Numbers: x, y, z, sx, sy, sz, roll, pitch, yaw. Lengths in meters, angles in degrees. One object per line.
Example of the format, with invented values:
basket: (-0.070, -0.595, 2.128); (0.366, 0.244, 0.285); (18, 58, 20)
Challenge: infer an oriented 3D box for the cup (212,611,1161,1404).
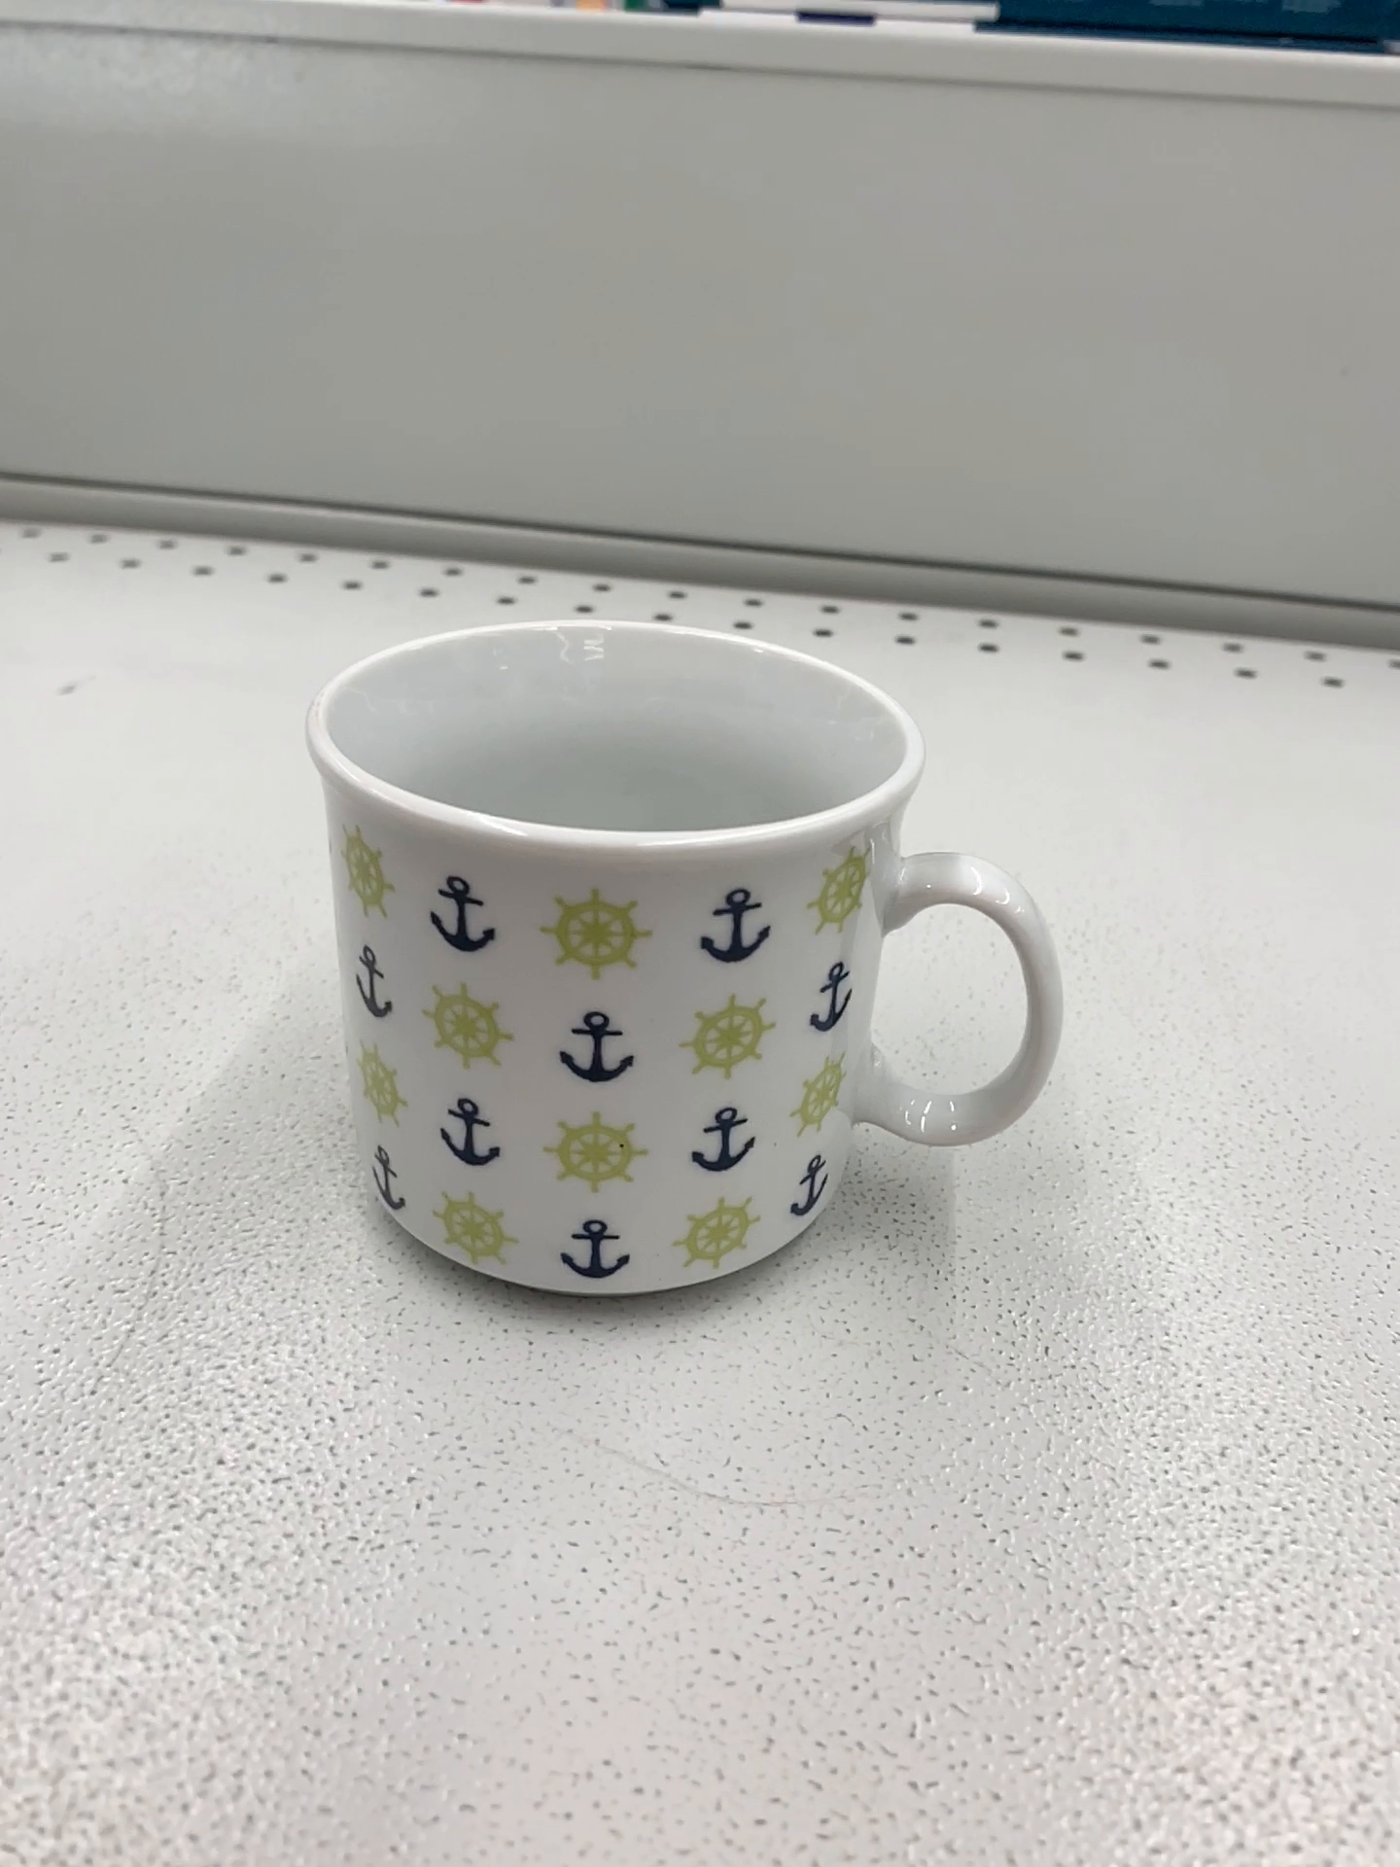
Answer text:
cup: (-0.005, 0.005, 0.199); (0.096, 0.076, 0.078); (0, 27, -6)
